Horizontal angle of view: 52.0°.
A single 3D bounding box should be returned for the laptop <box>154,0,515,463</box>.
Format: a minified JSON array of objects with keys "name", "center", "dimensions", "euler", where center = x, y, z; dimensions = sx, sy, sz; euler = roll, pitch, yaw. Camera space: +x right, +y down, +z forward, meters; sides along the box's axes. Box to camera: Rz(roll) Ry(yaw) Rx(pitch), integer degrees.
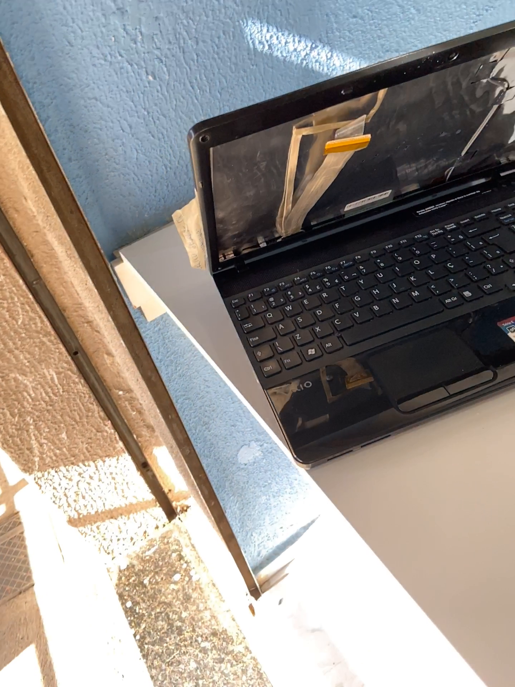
[{"name":"laptop","center":[0.143,-0.125,0.418],"dimensions":[0.364,0.193,0.243],"euler":[-20,44,-6]}]
